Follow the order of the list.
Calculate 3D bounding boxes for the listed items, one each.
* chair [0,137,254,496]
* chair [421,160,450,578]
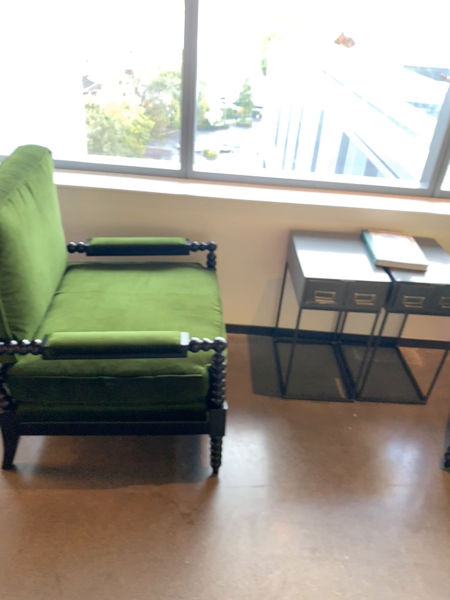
[{"bbox_3d":[-0.452,0.018,1.660,0.910,0.924,0.845,1,32,-6],"label":"chair"},{"bbox_3d":[1.390,0.130,1.721,0.872,0.924,0.944,19,35,22],"label":"chair"}]
